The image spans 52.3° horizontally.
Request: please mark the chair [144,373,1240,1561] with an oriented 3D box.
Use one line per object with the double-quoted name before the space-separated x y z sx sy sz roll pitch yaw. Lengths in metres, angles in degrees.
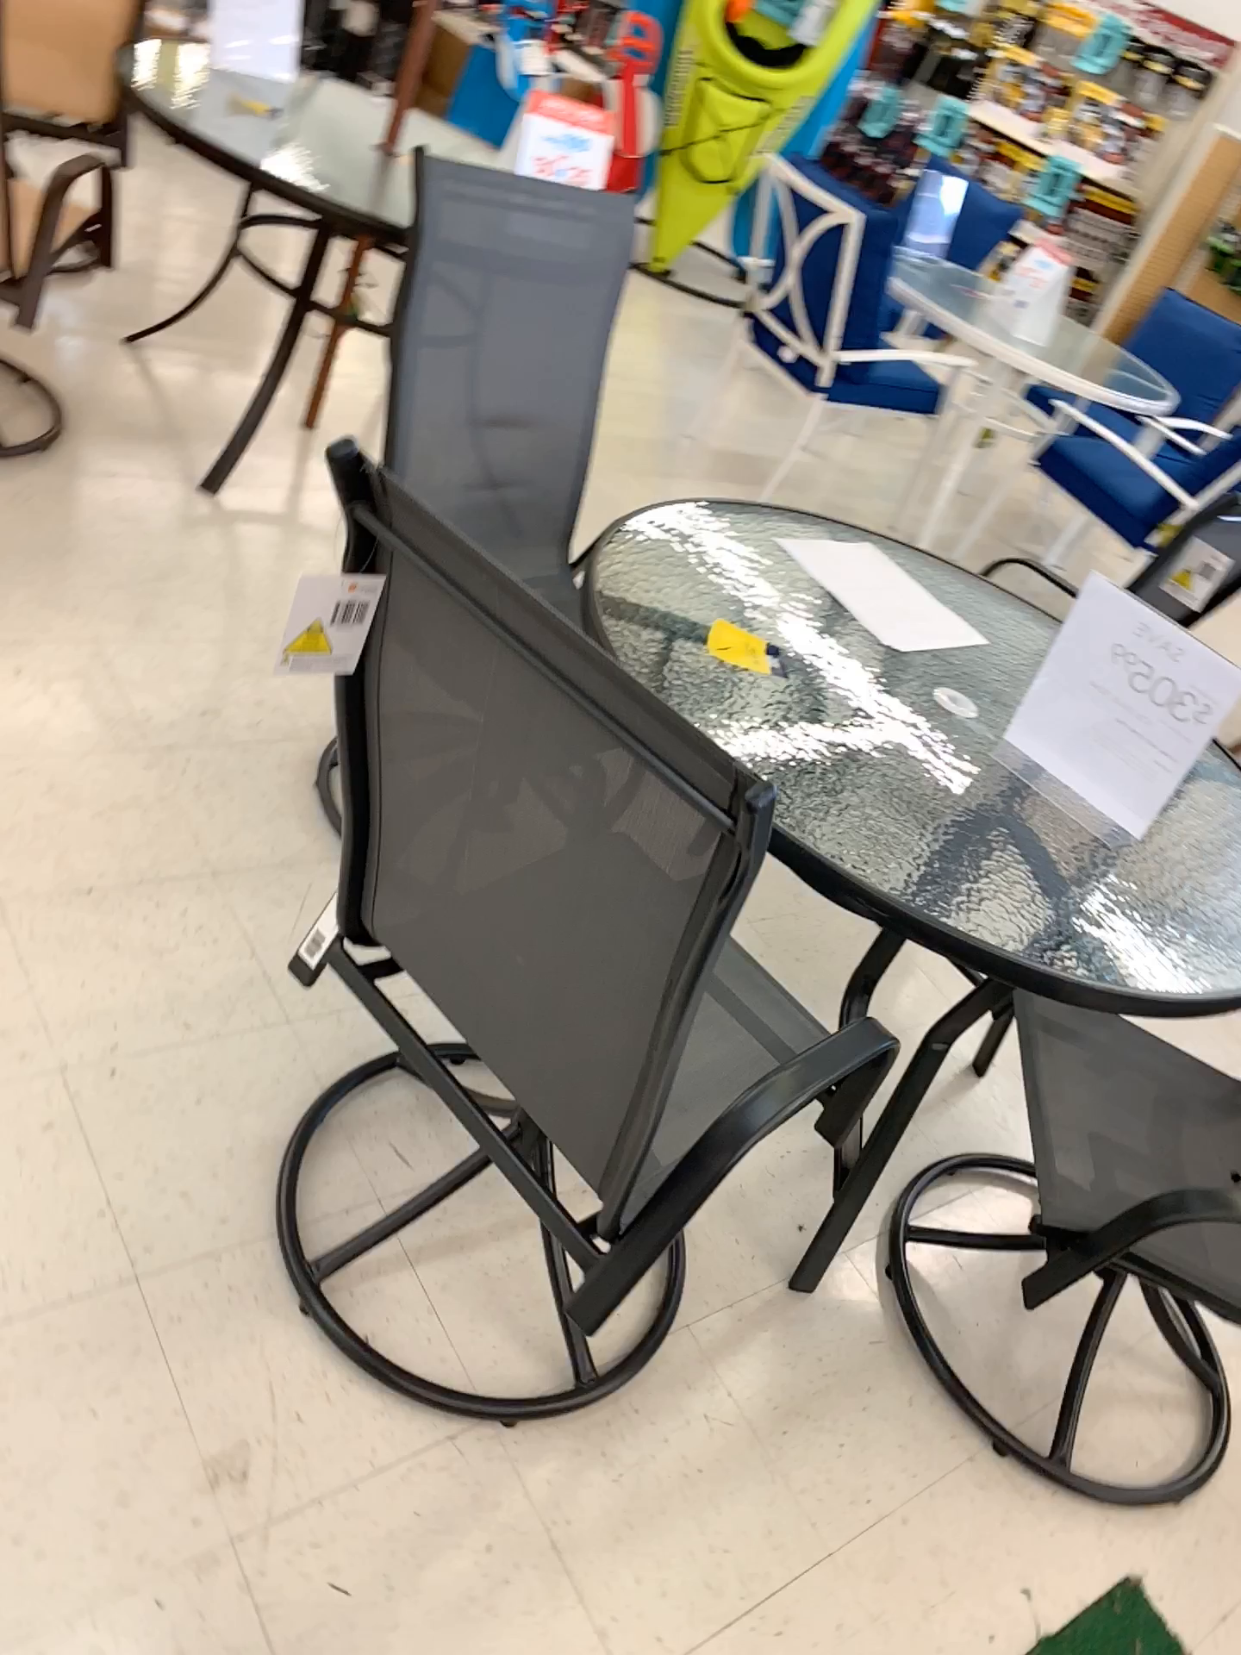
"chair" 0.009 0.120 1.351 0.581 0.975 0.642 43 38 23
